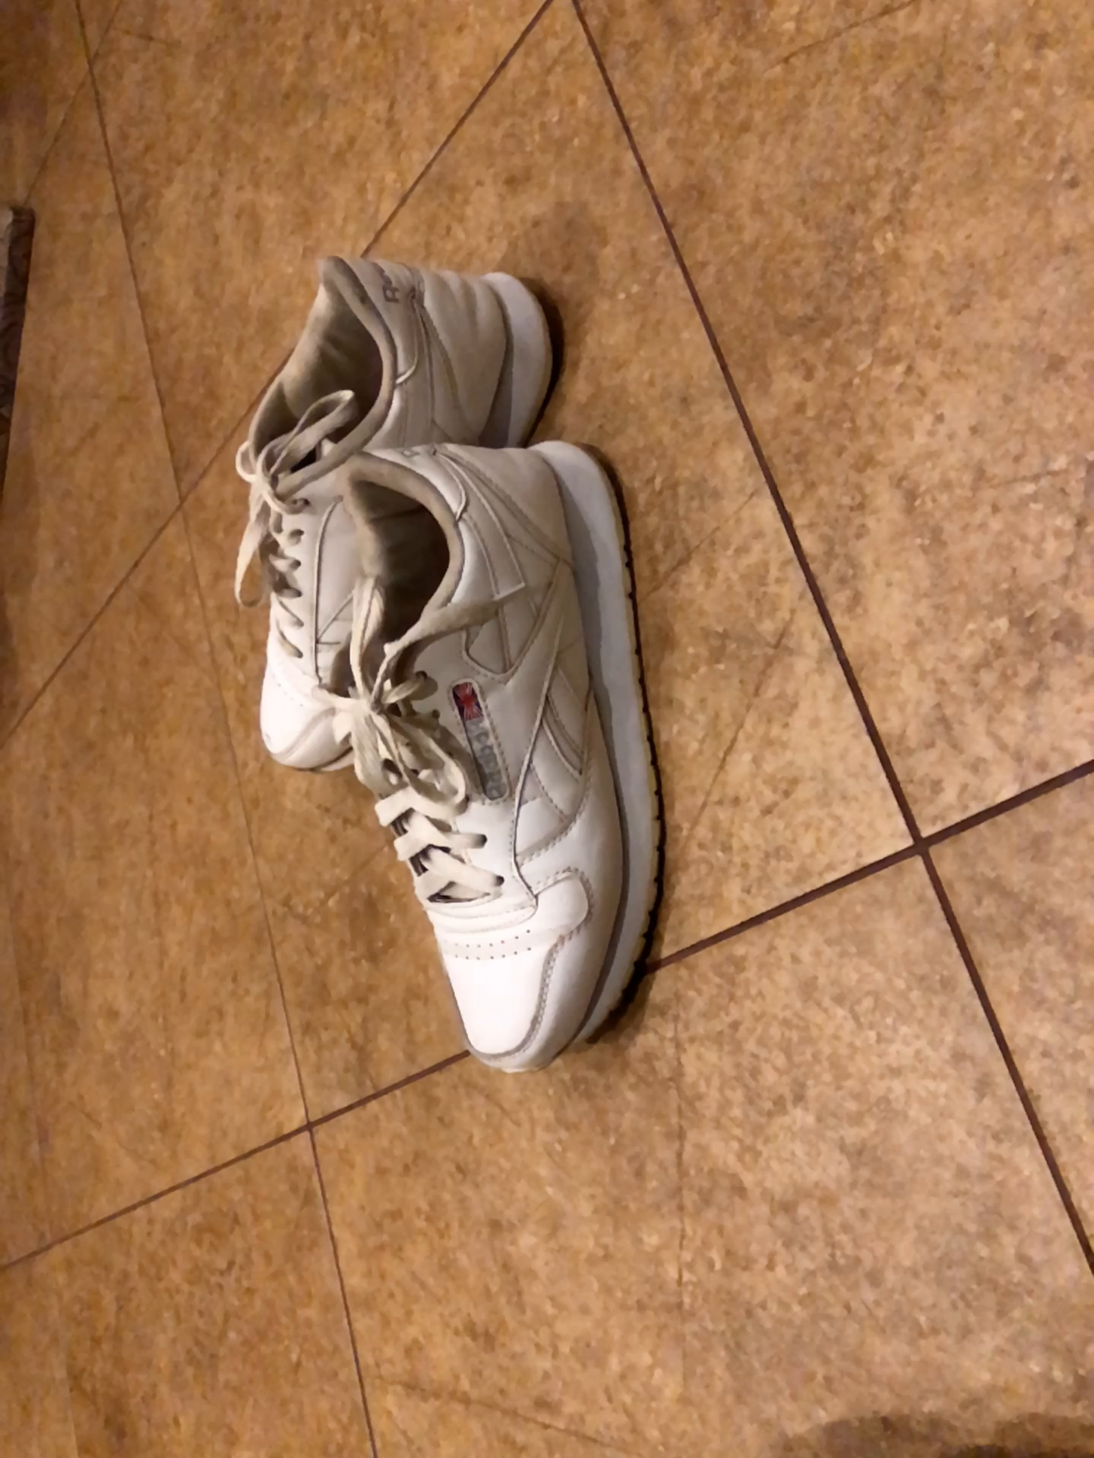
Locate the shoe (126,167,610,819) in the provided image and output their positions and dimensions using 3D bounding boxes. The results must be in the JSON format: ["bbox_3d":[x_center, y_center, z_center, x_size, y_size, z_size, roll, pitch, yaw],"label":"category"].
[{"bbox_3d":[-0.092,-0.092,0.547,0.100,0.099,0.260,49,123,38],"label":"shoe"}]

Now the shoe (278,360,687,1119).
[{"bbox_3d":[-0.029,0.007,0.469,0.111,0.099,0.250,-10,81,48],"label":"shoe"}]
